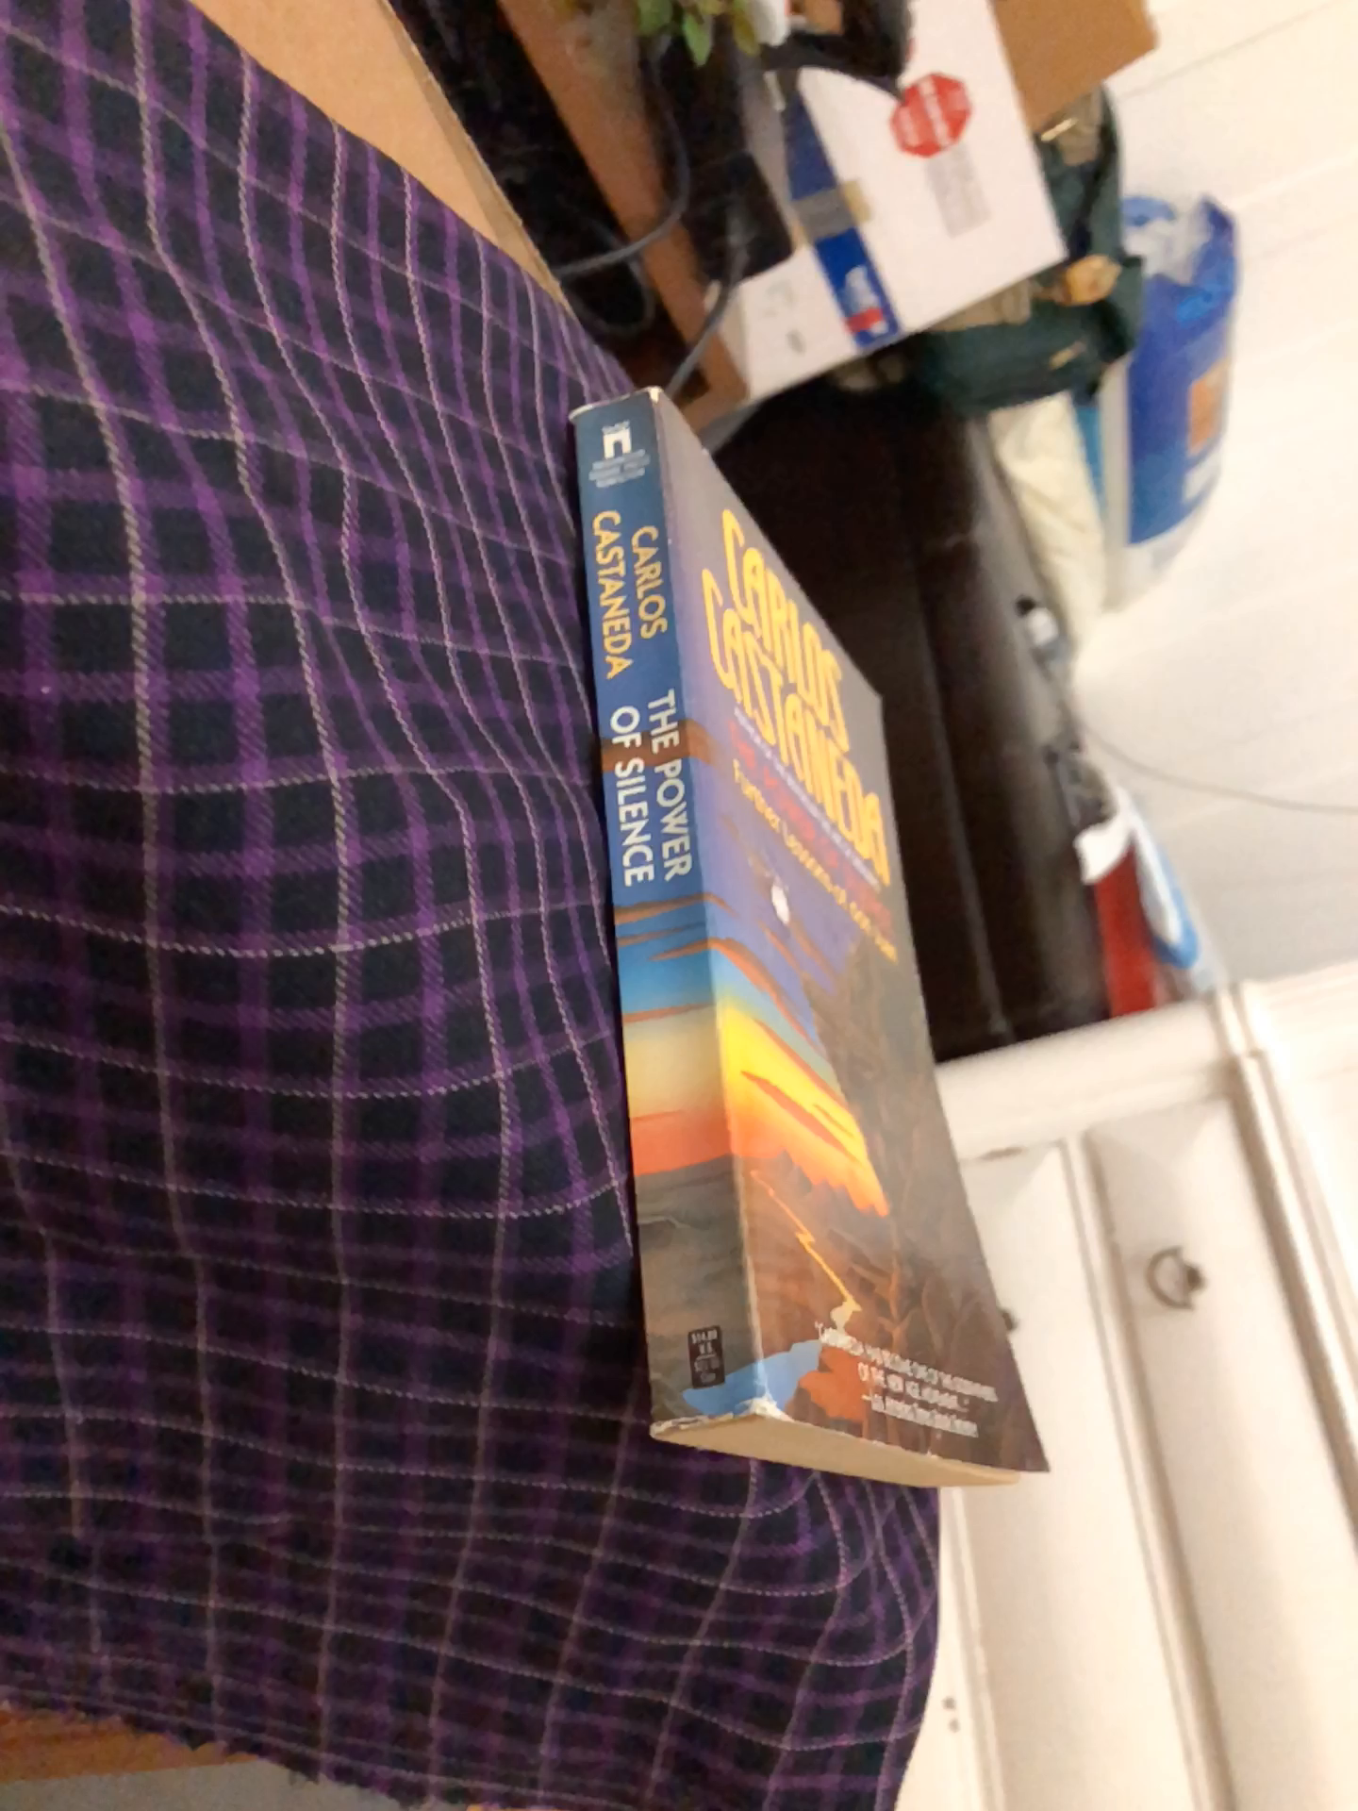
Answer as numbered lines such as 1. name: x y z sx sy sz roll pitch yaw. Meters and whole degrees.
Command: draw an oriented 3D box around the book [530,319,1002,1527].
1. book: 0.019 0.009 0.322 0.150 0.020 0.220 42 37 -54
